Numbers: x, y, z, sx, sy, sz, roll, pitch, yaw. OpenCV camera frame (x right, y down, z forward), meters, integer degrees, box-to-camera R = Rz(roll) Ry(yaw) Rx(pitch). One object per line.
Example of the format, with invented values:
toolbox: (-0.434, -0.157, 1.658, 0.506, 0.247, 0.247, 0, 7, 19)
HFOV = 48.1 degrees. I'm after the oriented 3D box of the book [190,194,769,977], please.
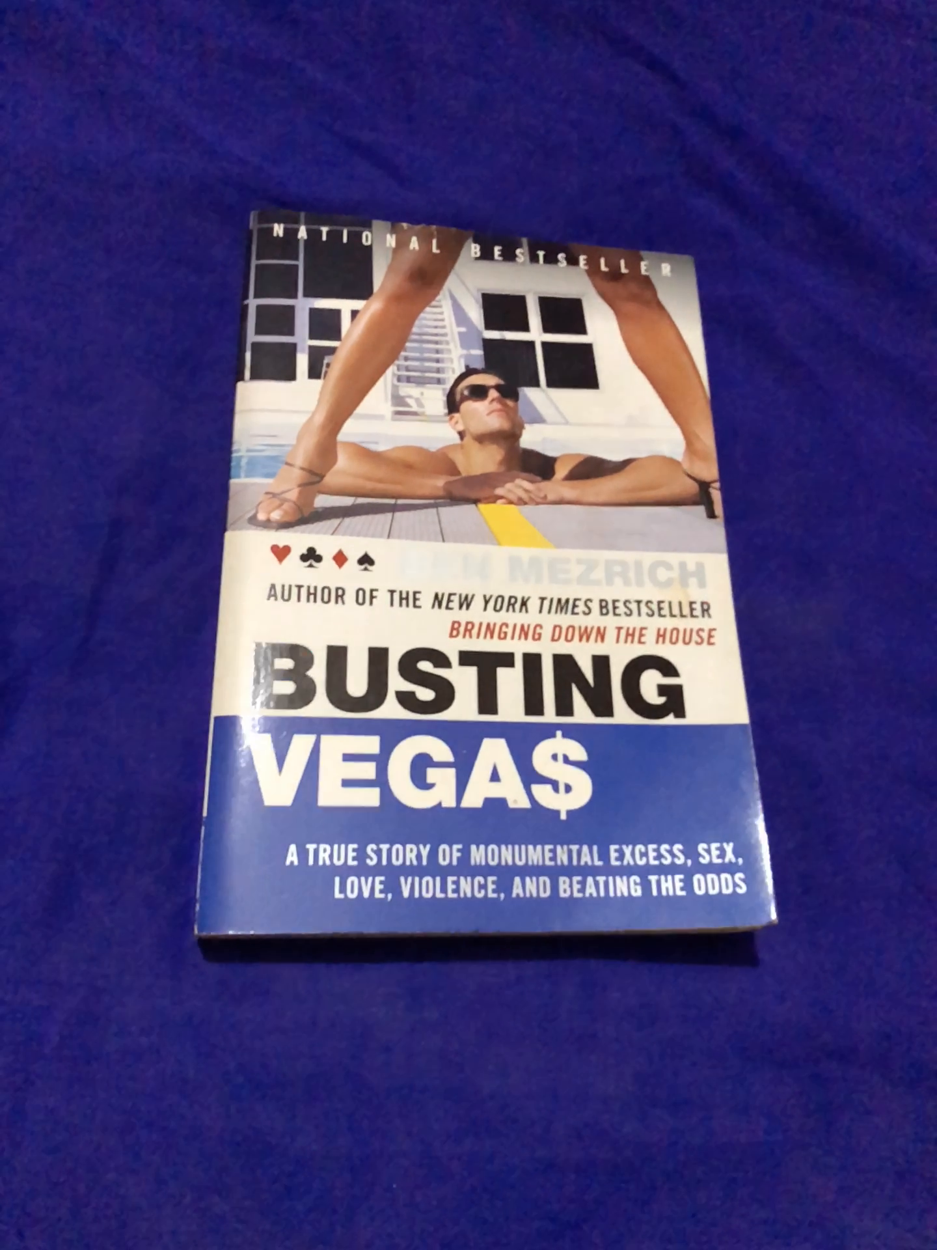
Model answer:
book: (0.000, -0.016, 0.289, 0.130, 0.040, 0.210, 2, 68, -9)
